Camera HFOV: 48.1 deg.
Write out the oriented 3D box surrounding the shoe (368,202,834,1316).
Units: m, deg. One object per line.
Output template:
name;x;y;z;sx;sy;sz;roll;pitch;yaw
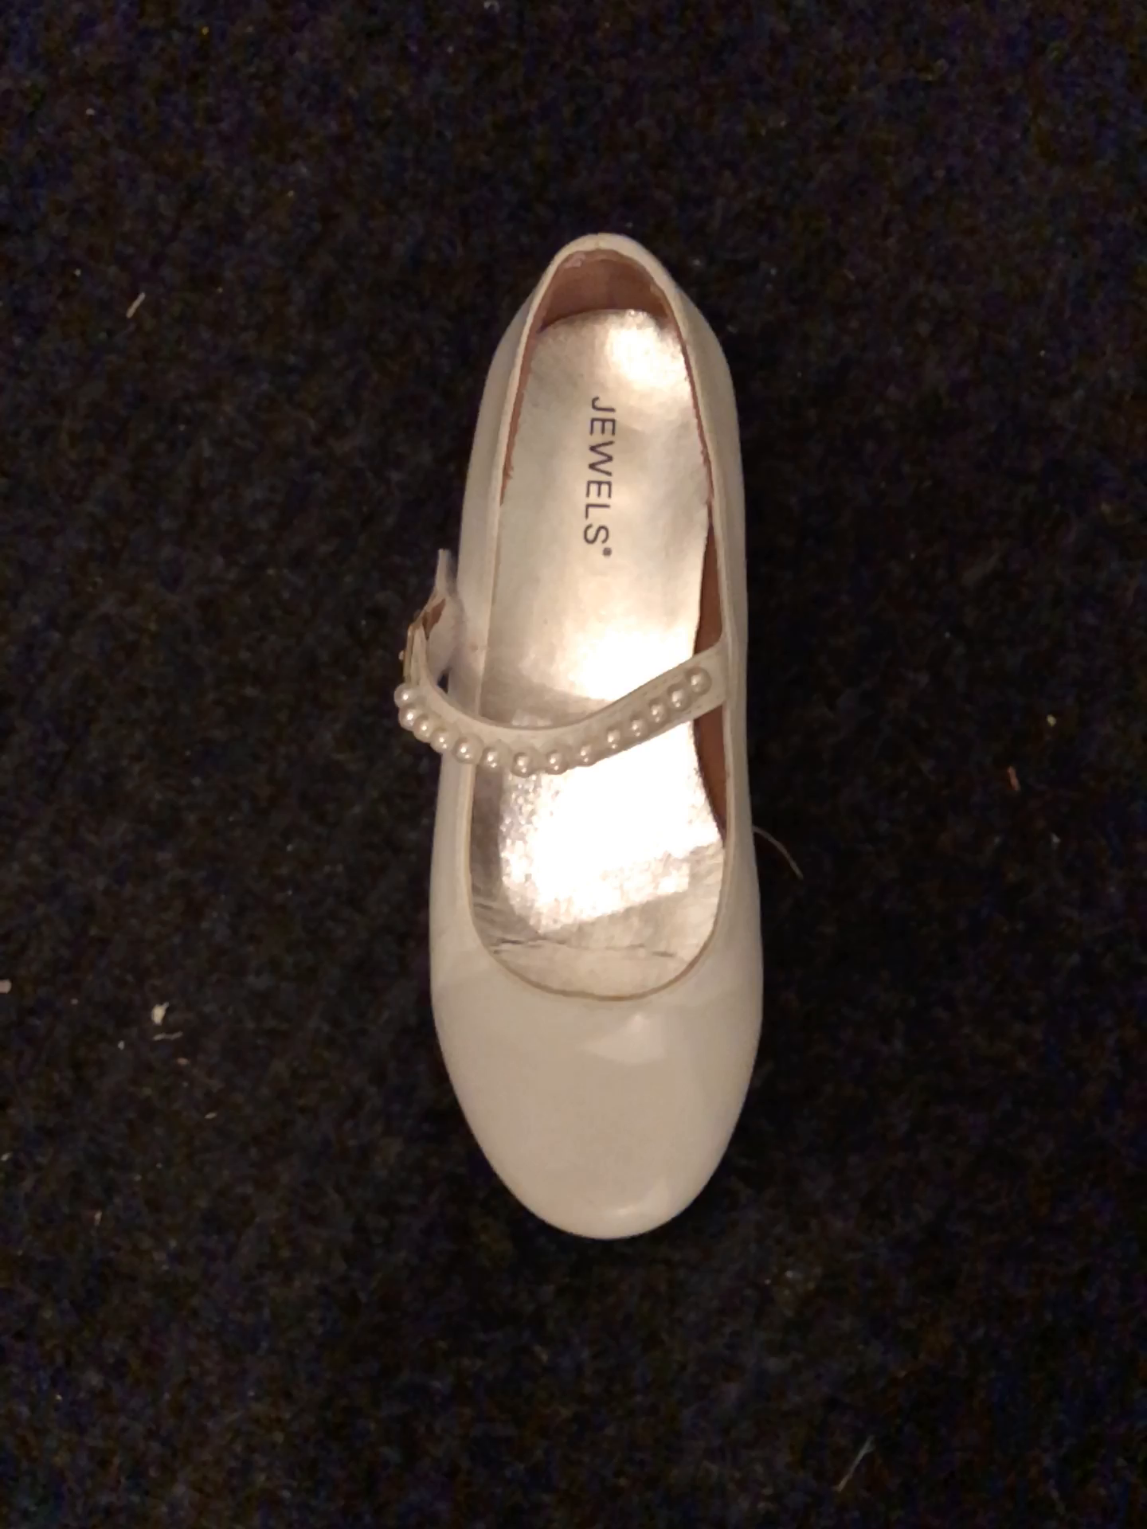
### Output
shoe;0.009;-0.002;0.272;0.080;0.080;0.200;1;84;4
